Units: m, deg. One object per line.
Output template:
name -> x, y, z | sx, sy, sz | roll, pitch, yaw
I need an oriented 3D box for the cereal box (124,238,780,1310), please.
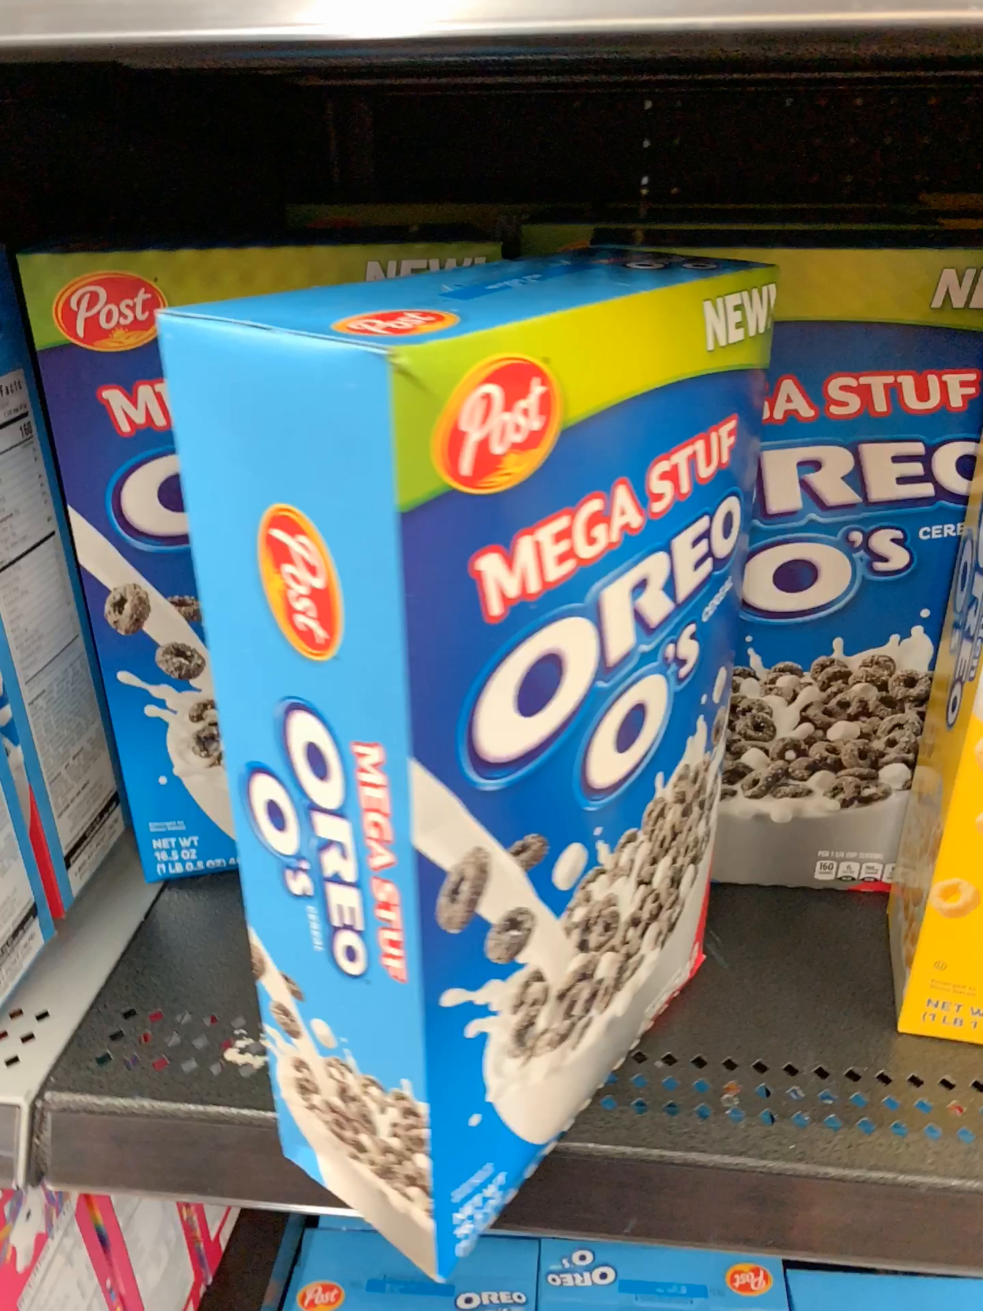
cereal box -> 0.006, 0.033, 0.377 | 0.080, 0.328, 0.211 | 19, 33, 33
